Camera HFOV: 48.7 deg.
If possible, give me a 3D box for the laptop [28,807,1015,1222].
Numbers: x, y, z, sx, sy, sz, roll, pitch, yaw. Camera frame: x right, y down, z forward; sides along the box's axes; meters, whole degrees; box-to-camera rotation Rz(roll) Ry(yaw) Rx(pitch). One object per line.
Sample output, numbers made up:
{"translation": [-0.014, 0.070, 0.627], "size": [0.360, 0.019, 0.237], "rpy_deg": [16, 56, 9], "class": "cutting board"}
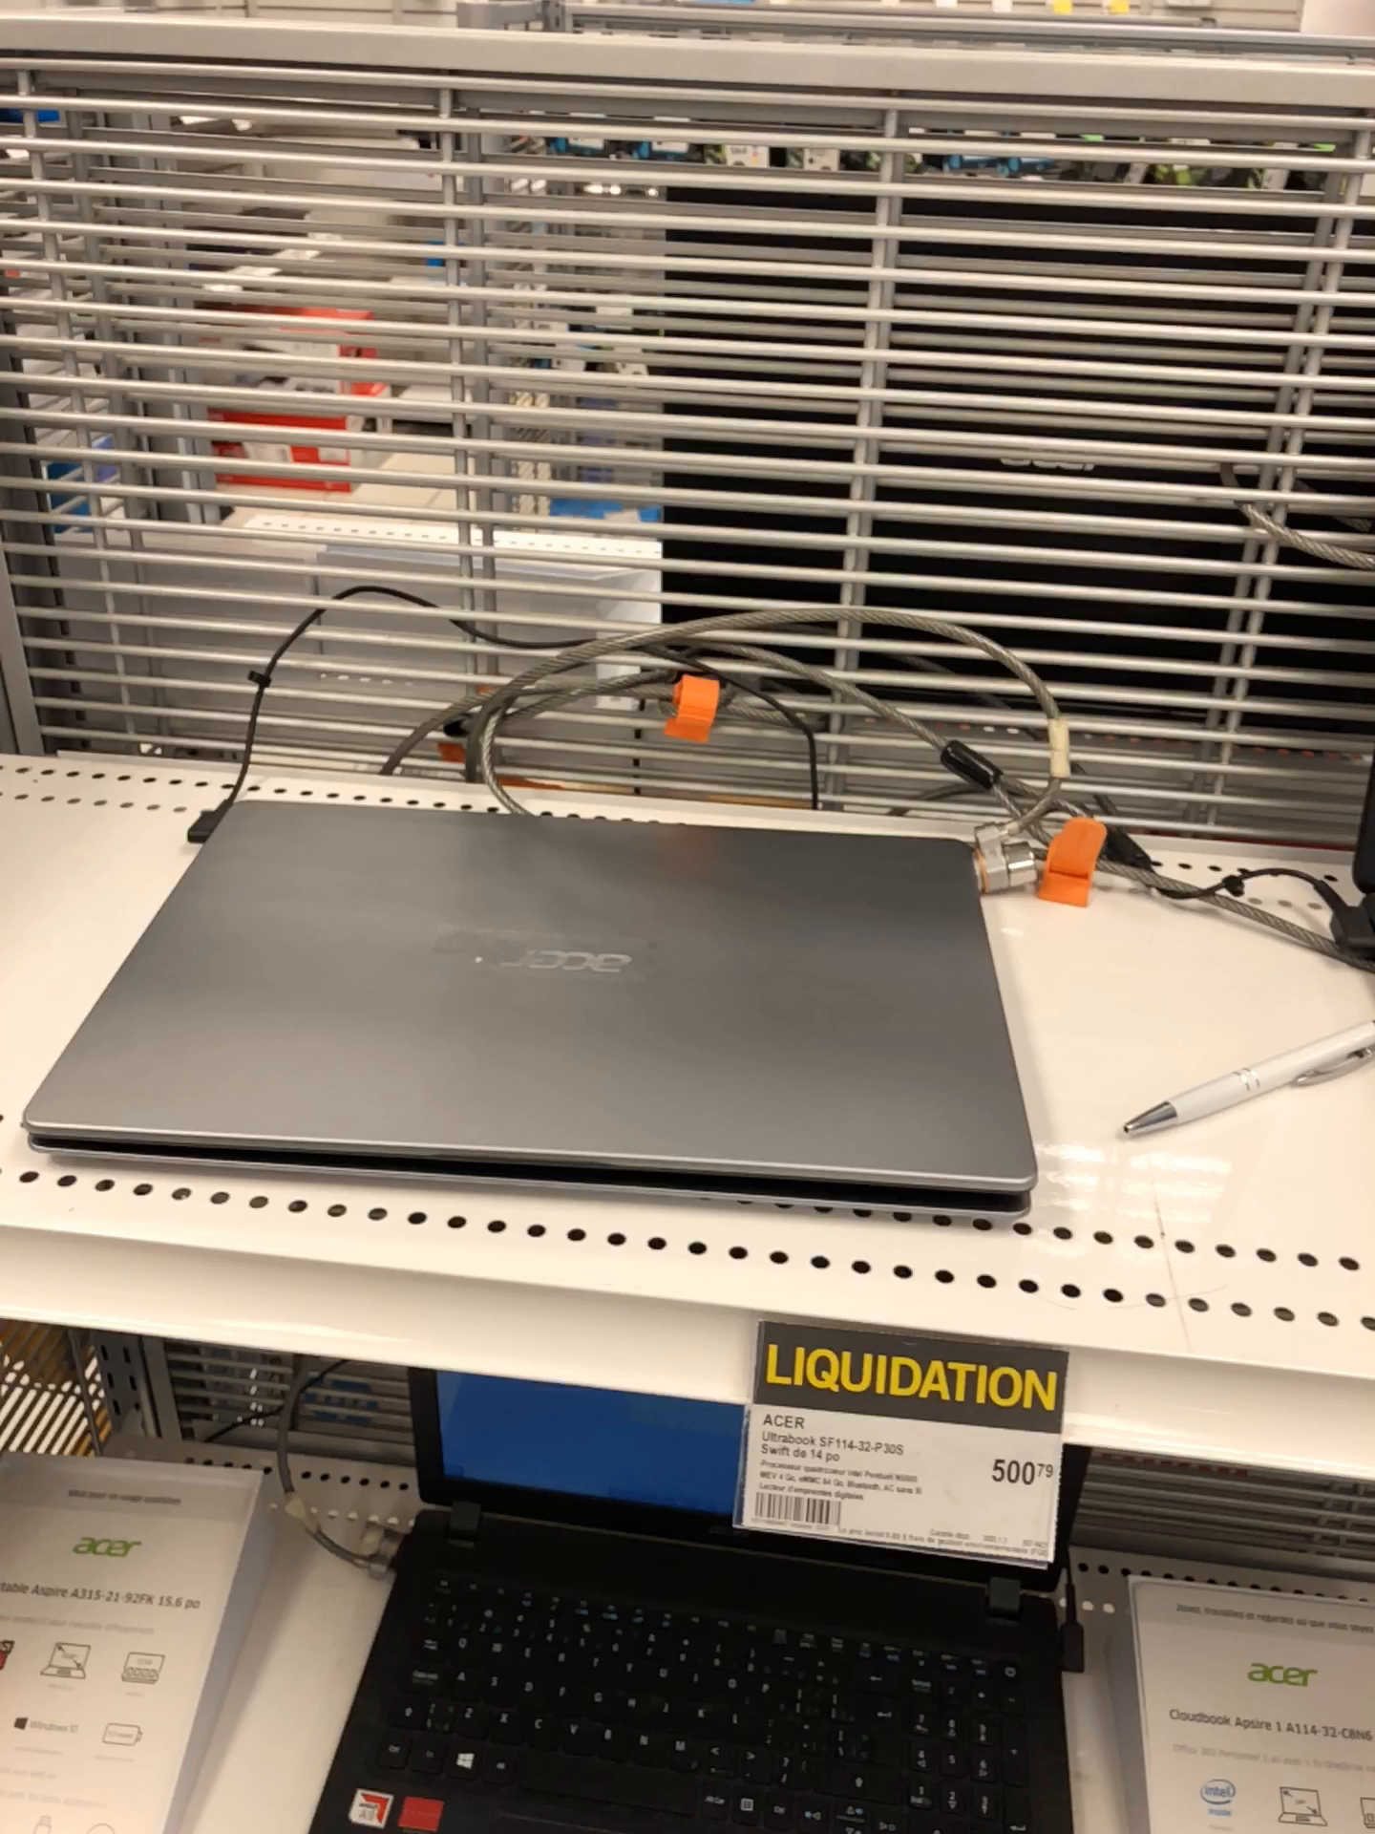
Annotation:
{"translation": [-0.048, 0.023, 0.575], "size": [0.316, 0.006, 0.220], "rpy_deg": [3, 34, 3], "class": "laptop"}
